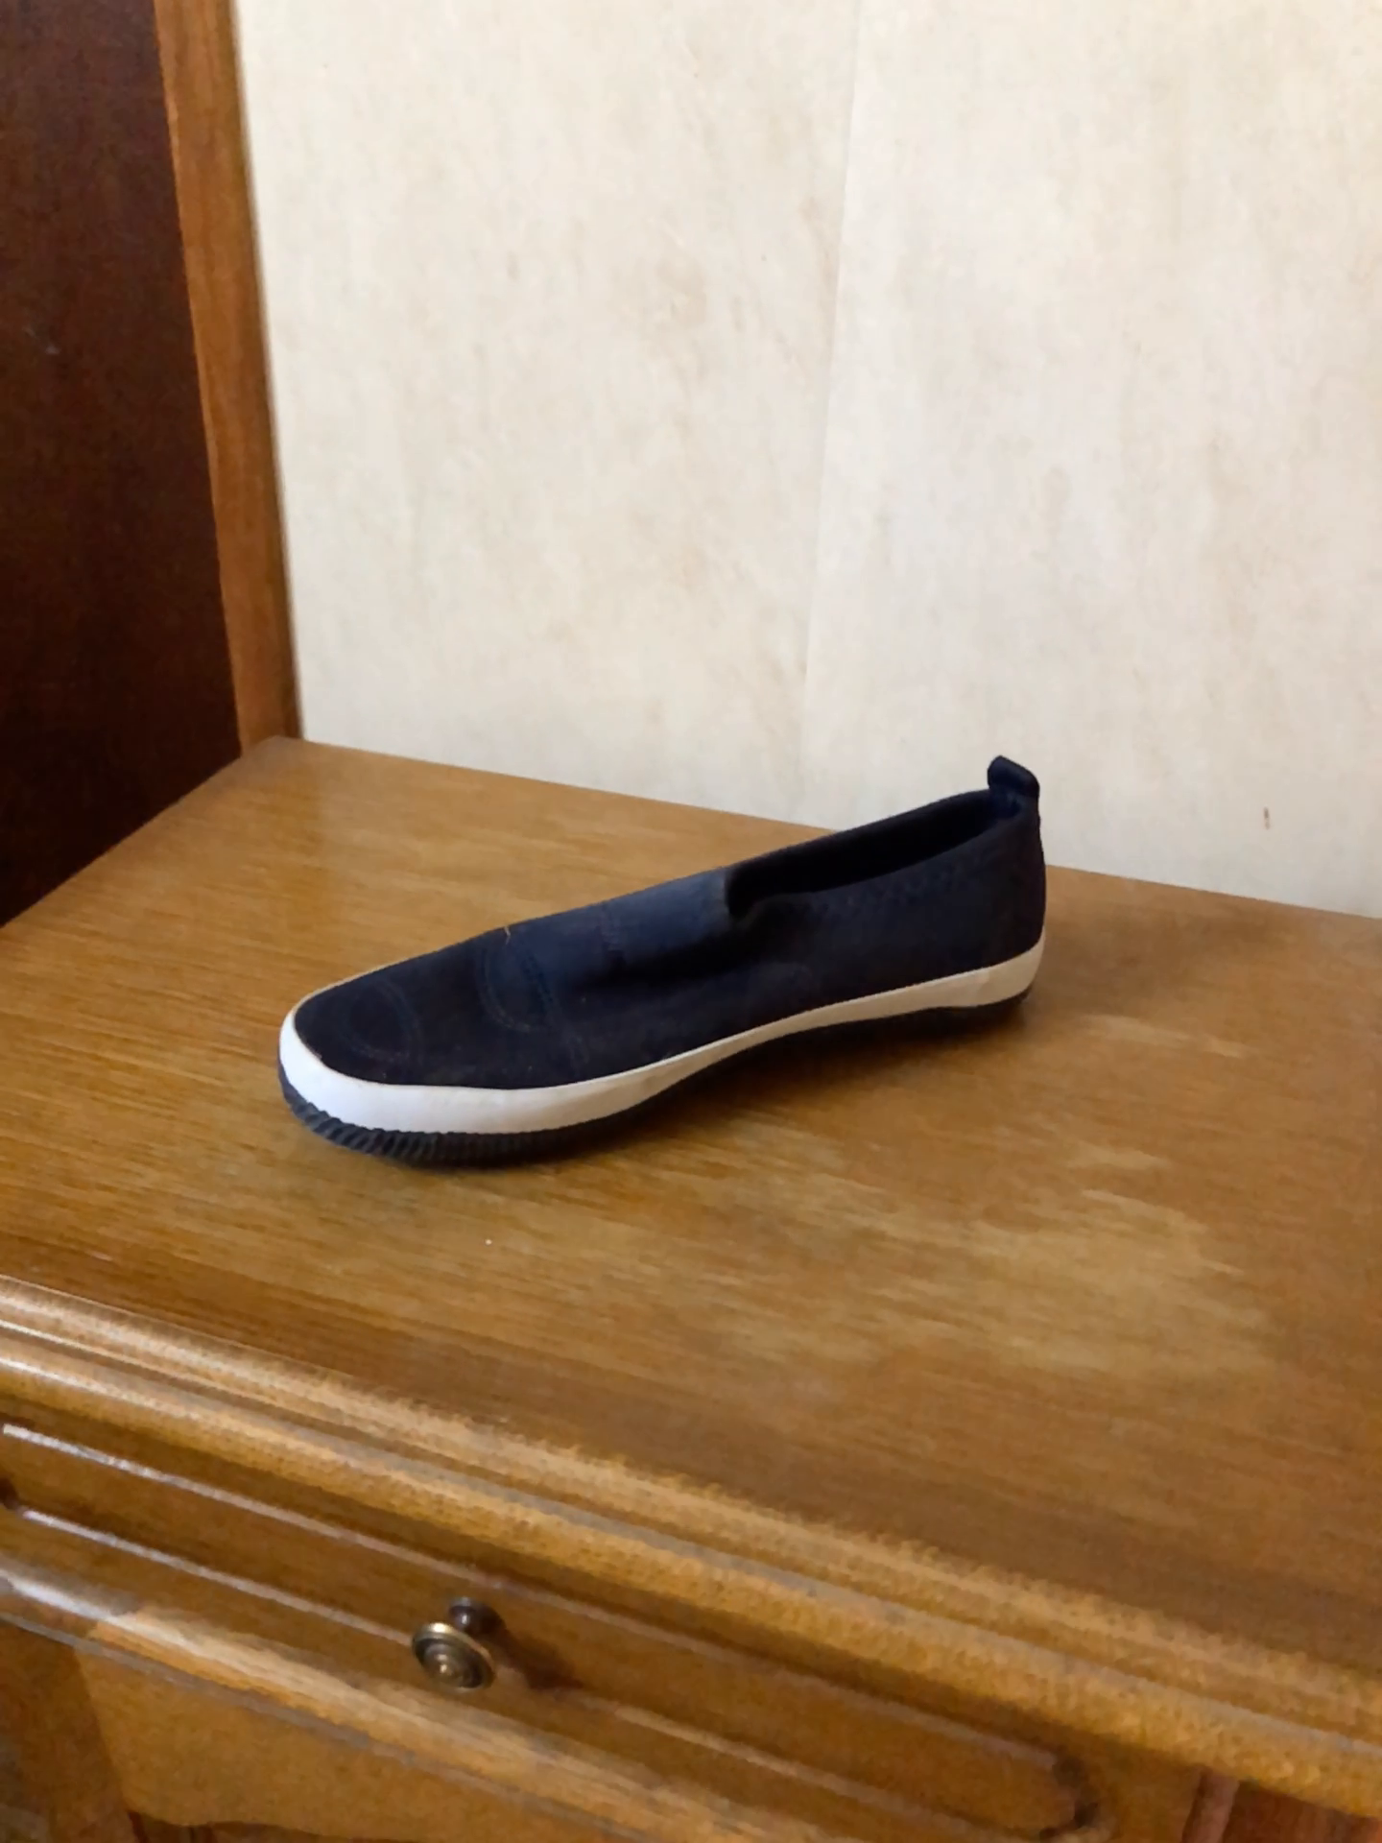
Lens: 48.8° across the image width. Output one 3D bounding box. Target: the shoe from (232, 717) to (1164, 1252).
[{"bbox_3d":[0.003,0.008,0.475,0.261,0.080,0.100,-10,32,-21],"label":"shoe"}]
